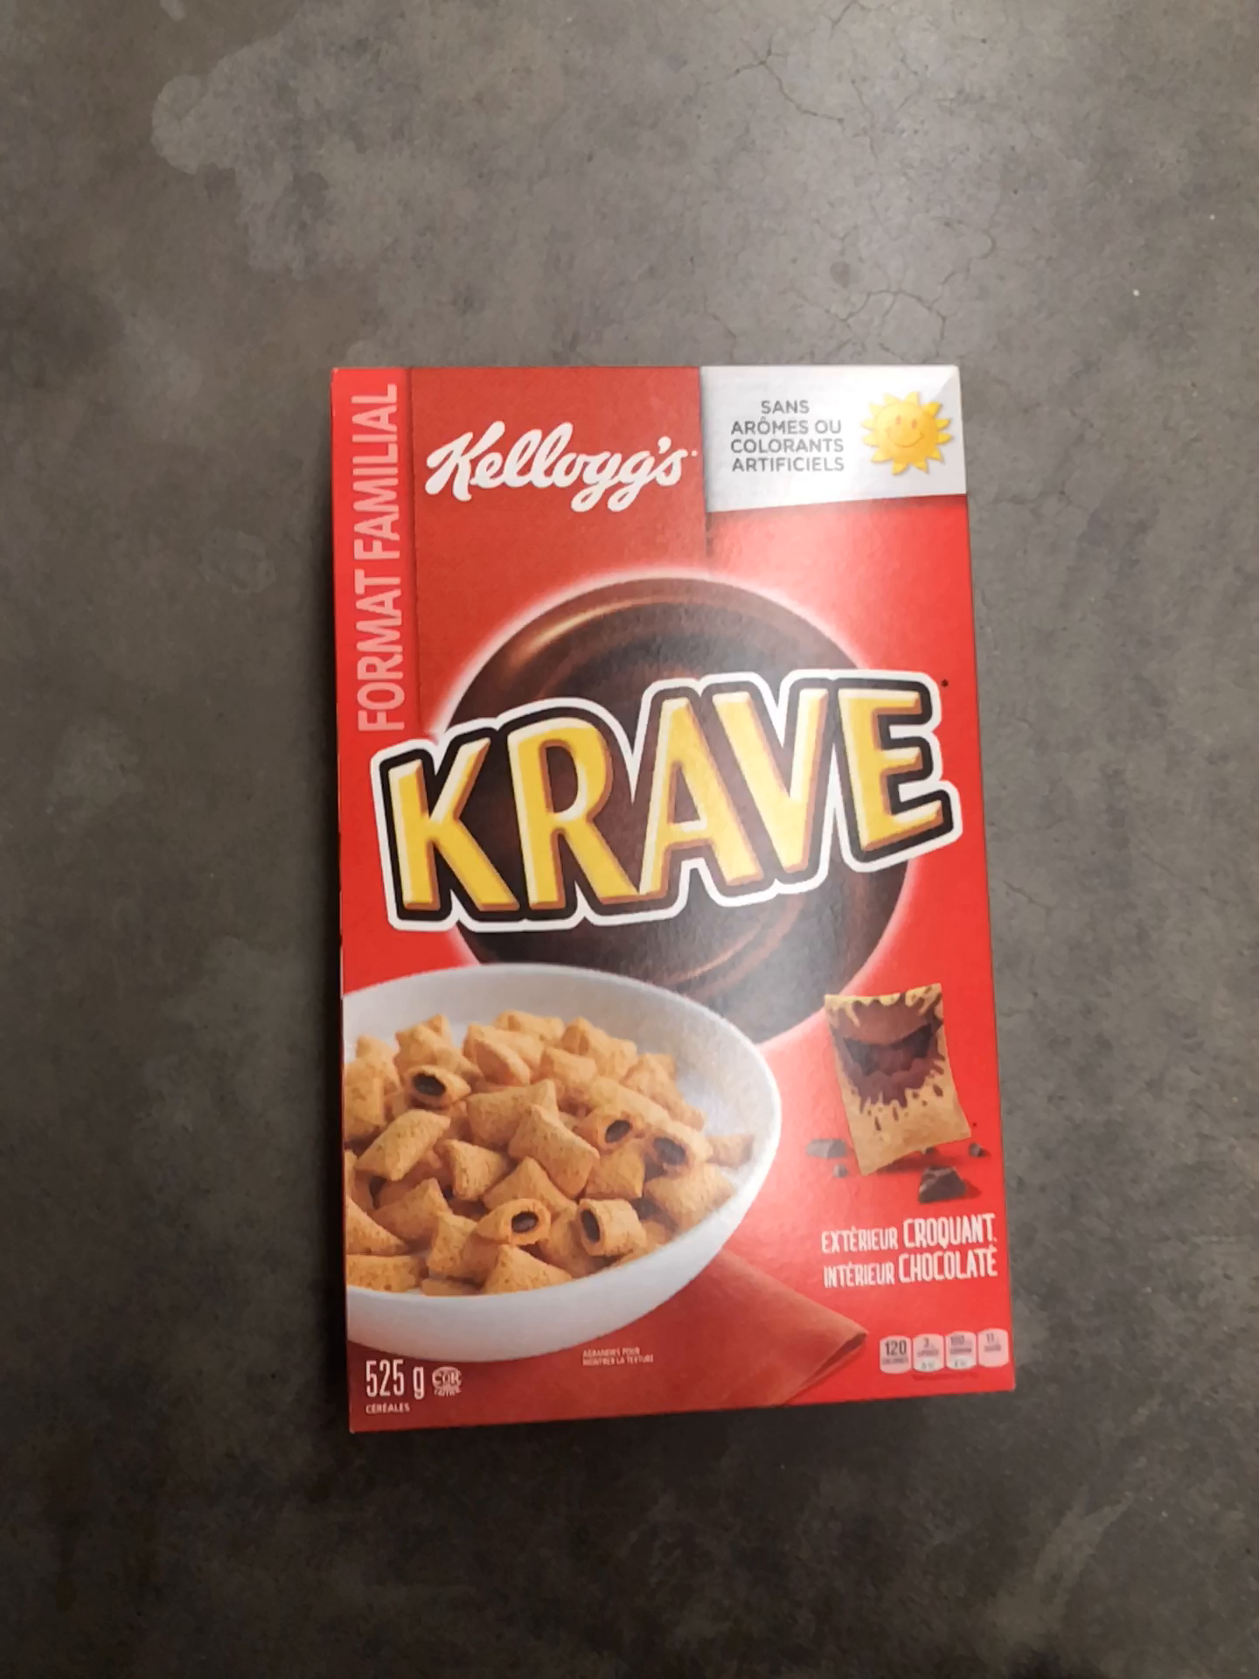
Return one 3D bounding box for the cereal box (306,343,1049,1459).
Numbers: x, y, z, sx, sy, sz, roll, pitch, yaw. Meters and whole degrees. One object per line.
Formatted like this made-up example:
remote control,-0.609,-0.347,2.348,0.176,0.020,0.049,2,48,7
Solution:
cereal box,0.010,0.013,0.430,0.200,0.070,0.310,-2,86,-4
